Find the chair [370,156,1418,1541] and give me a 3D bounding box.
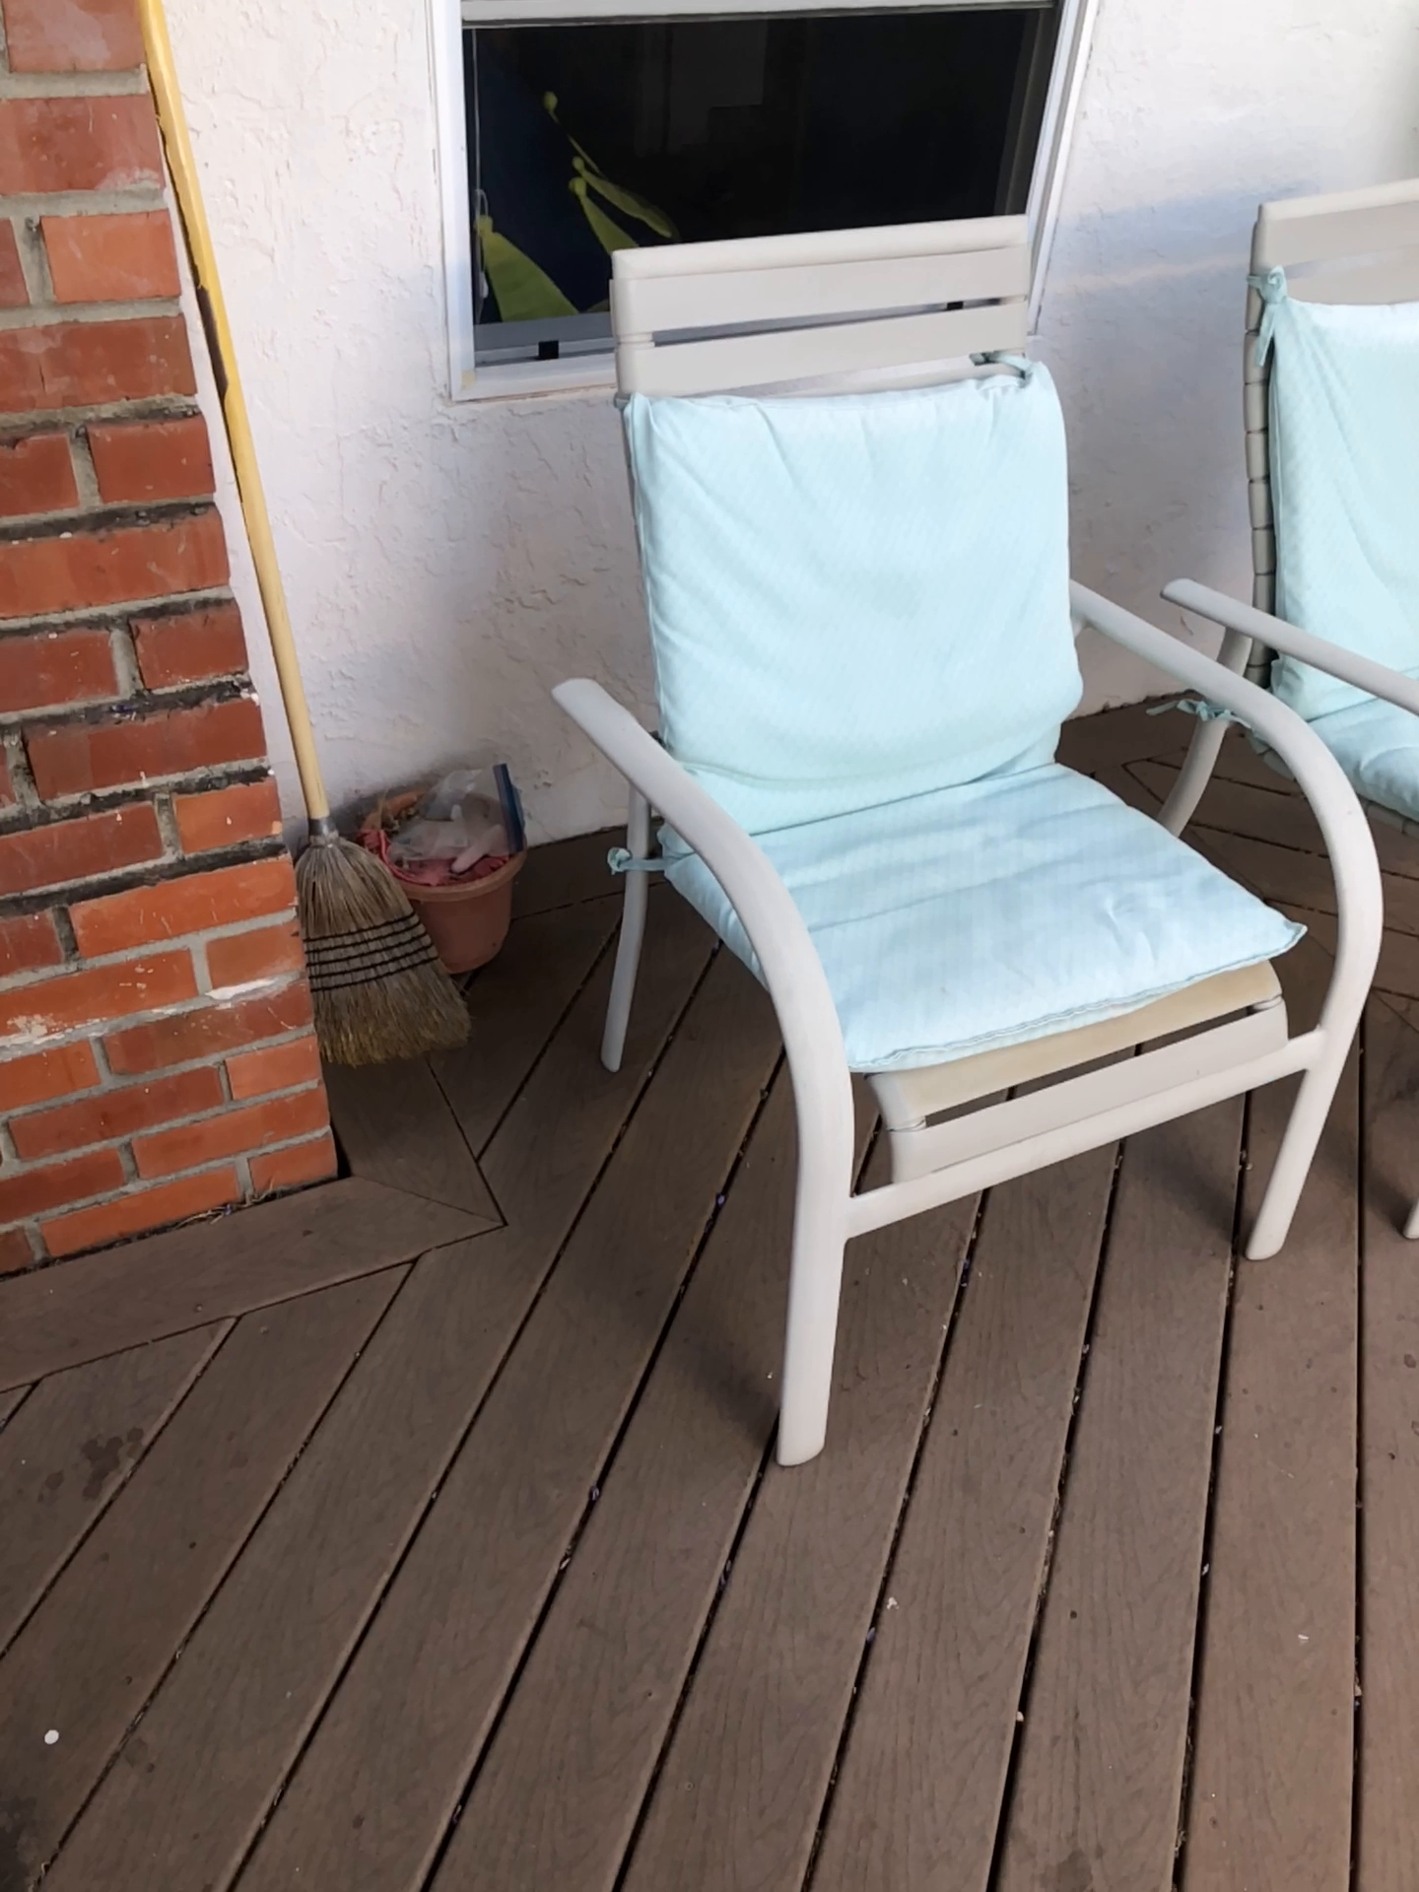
[{"bbox_3d":[0.180,-0.166,1.701,0.741,0.994,0.974,-17,46,-23],"label":"chair"}]
